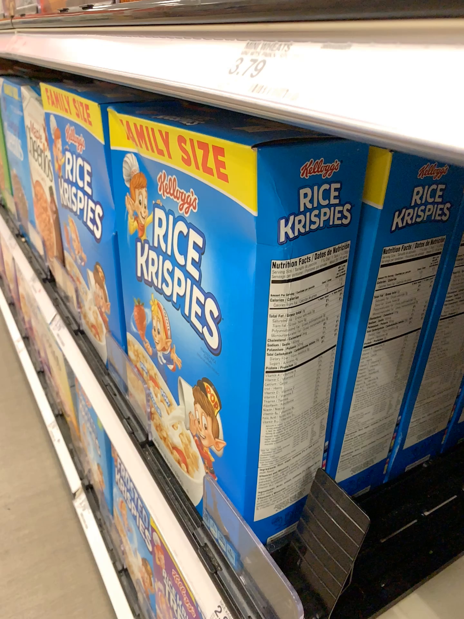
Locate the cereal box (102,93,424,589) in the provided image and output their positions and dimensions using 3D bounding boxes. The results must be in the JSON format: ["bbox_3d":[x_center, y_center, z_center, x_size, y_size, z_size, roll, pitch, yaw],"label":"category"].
[{"bbox_3d":[-0.007,0.010,0.426,0.100,0.348,0.251,-15,33,-31],"label":"cereal box"}]
